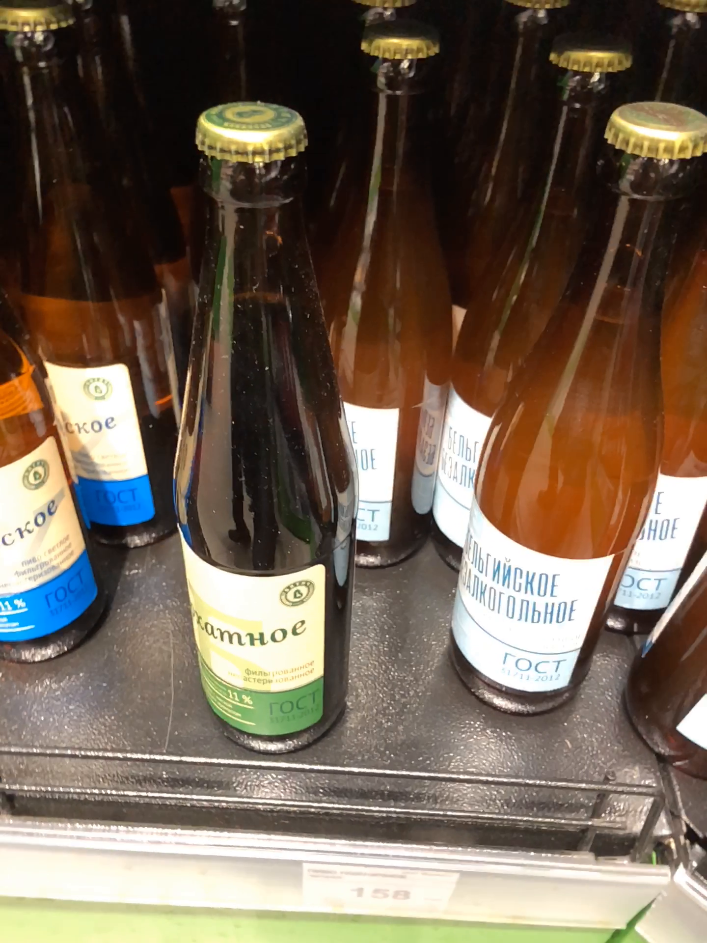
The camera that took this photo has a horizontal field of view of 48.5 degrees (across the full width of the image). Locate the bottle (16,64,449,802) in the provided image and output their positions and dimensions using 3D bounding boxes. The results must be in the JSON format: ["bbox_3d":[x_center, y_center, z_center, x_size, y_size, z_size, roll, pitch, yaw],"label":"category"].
[{"bbox_3d":[-0.034,0.007,0.277,0.080,0.249,0.070,29,47,26],"label":"bottle"}]
